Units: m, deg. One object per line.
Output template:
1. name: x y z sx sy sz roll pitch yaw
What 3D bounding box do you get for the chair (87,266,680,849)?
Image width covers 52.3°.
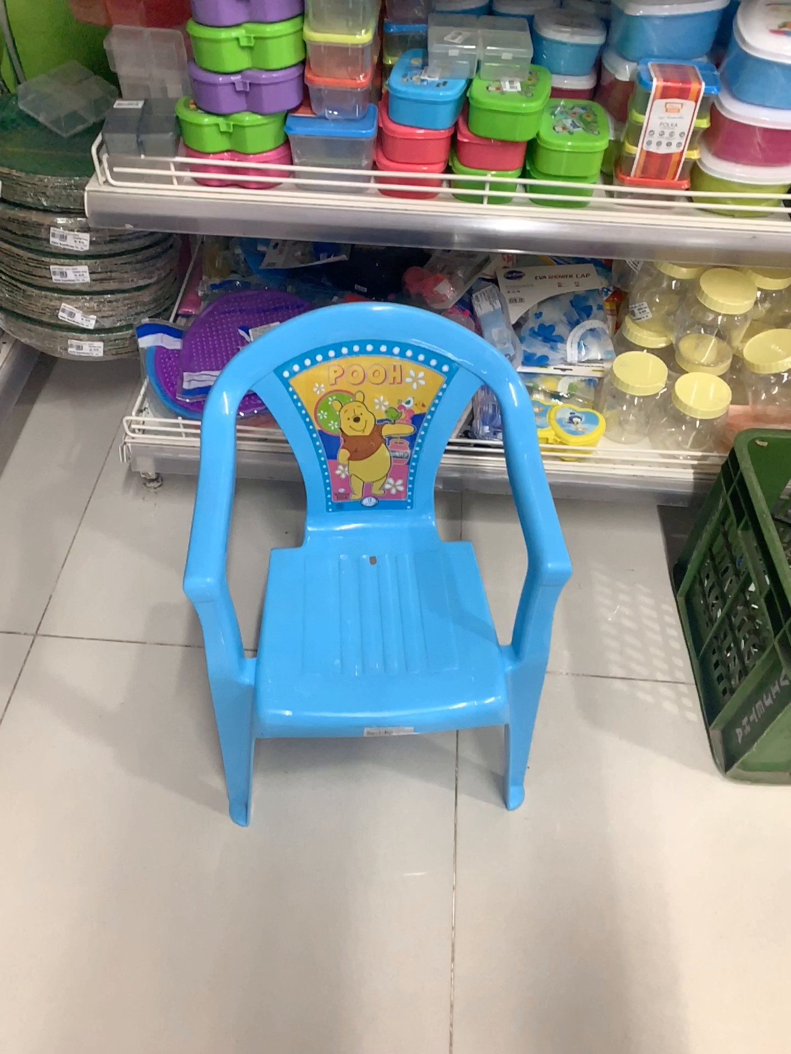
1. chair: -0.022 0.059 0.835 0.390 0.508 0.351 -3 51 -4
